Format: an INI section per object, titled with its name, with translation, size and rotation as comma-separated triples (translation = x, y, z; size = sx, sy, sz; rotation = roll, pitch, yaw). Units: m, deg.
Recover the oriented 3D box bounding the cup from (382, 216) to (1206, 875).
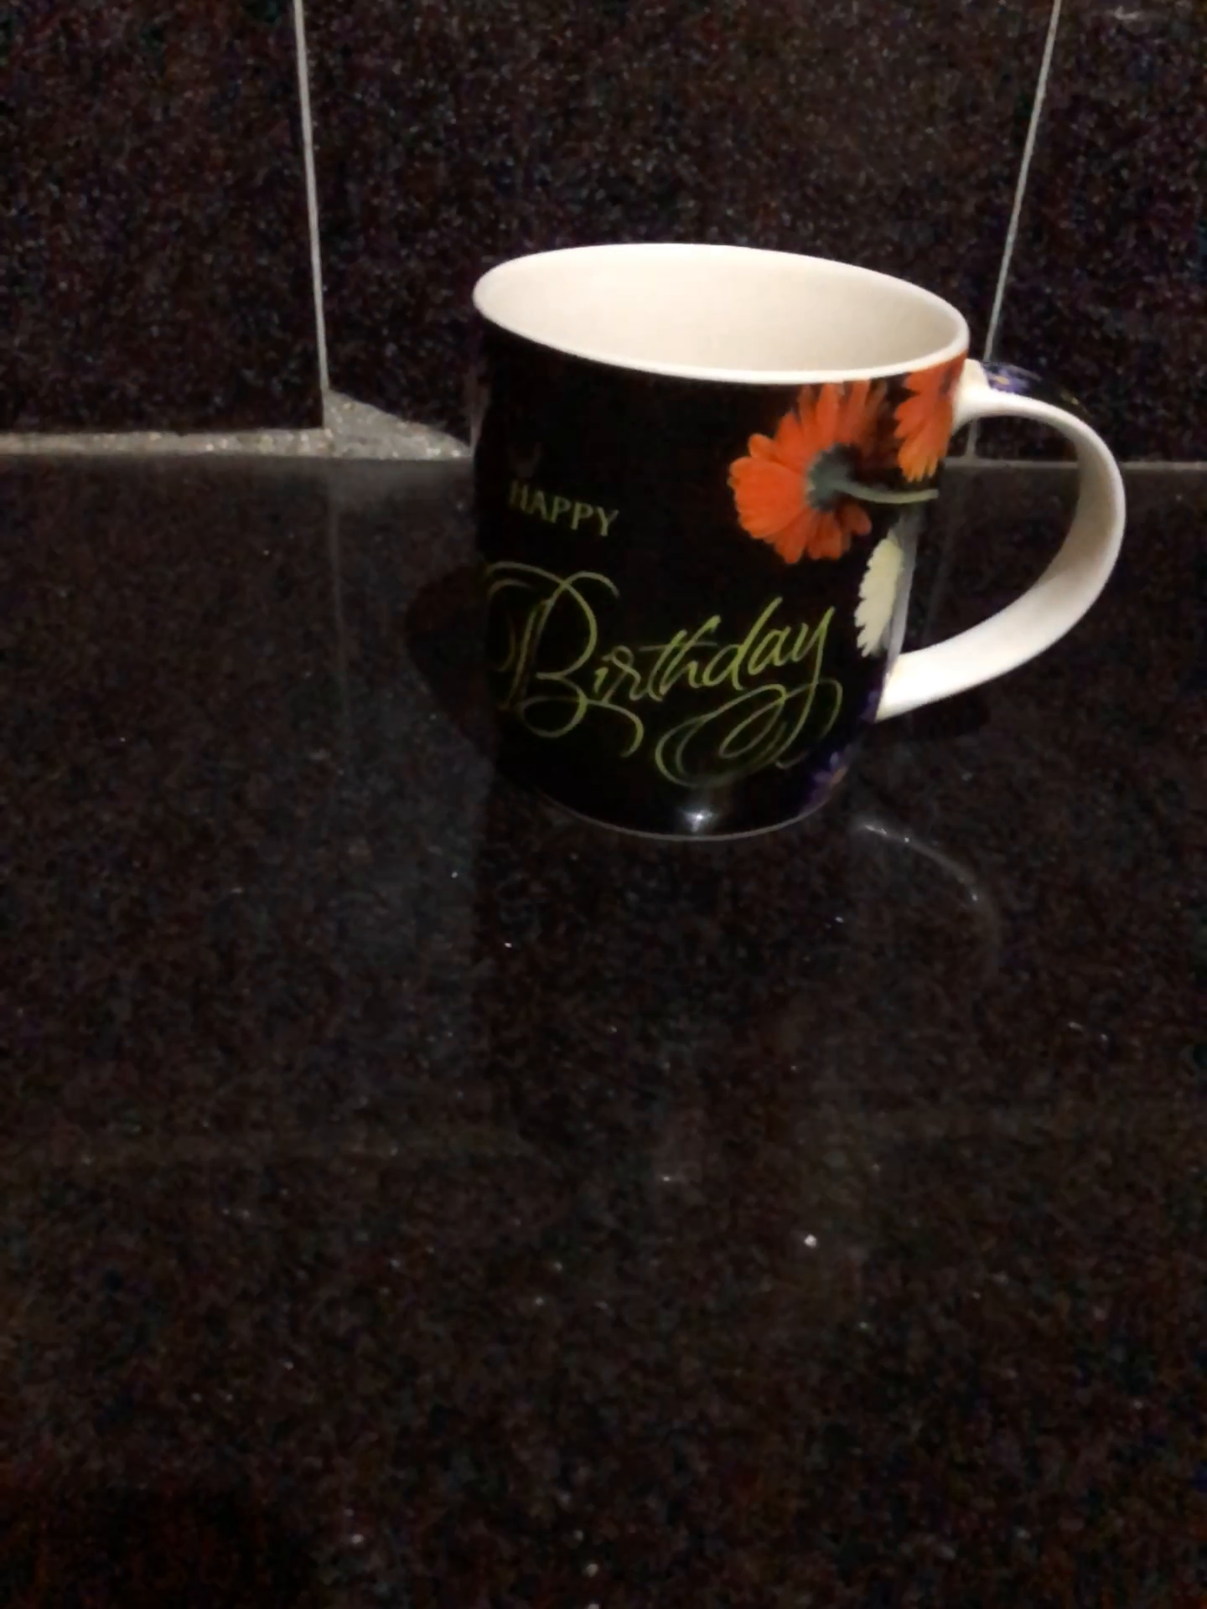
[cup]
translation = 0.029, -0.051, 0.256
size = 0.130, 0.089, 0.091
rotation = 1, 35, -4
